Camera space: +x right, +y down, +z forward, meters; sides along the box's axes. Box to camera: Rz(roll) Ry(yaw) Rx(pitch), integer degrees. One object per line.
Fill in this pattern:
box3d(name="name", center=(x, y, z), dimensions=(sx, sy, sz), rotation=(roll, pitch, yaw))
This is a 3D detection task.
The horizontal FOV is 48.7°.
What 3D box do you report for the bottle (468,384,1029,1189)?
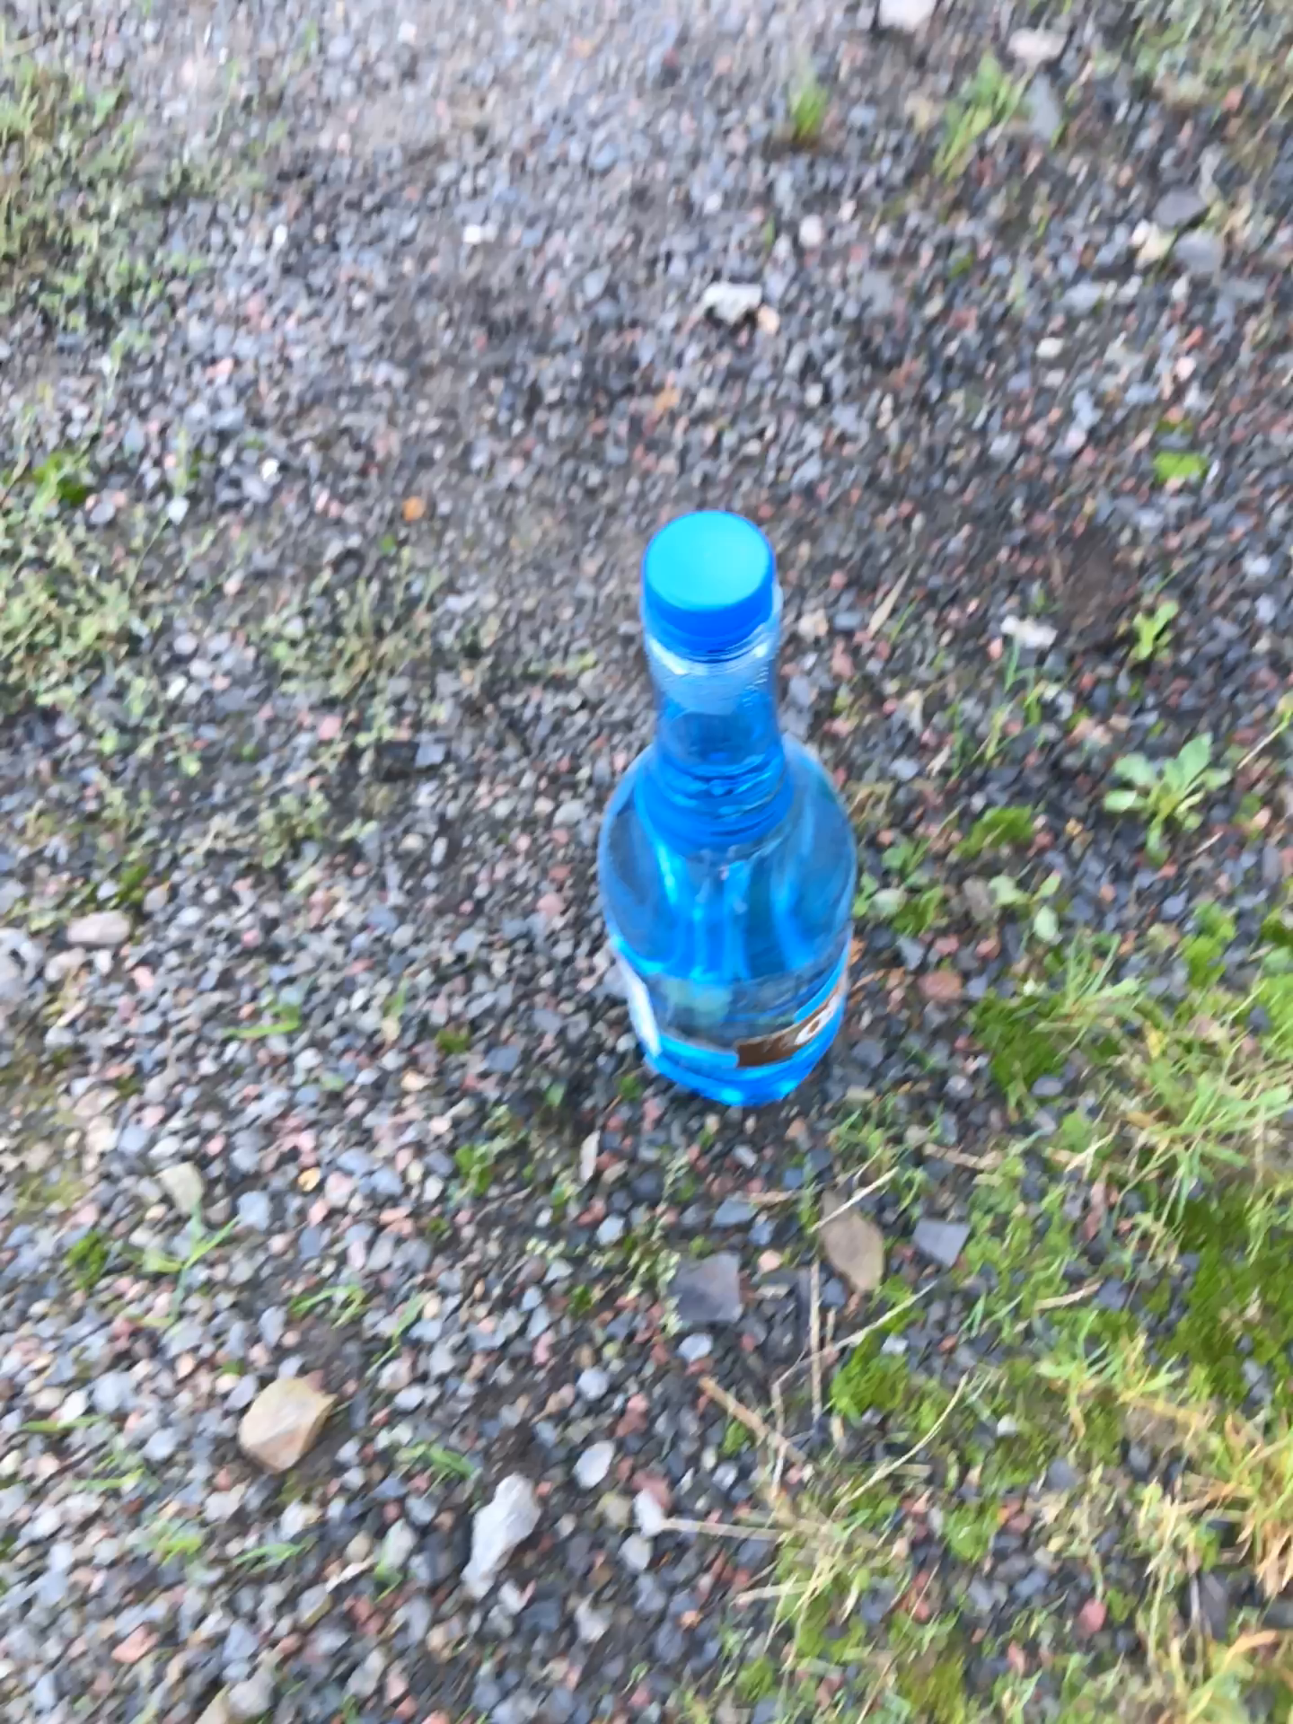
box3d(name="bottle", center=(0.031, 0.005, 0.463), dimensions=(0.110, 0.299, 0.110), rotation=(-1, 64, 1))
